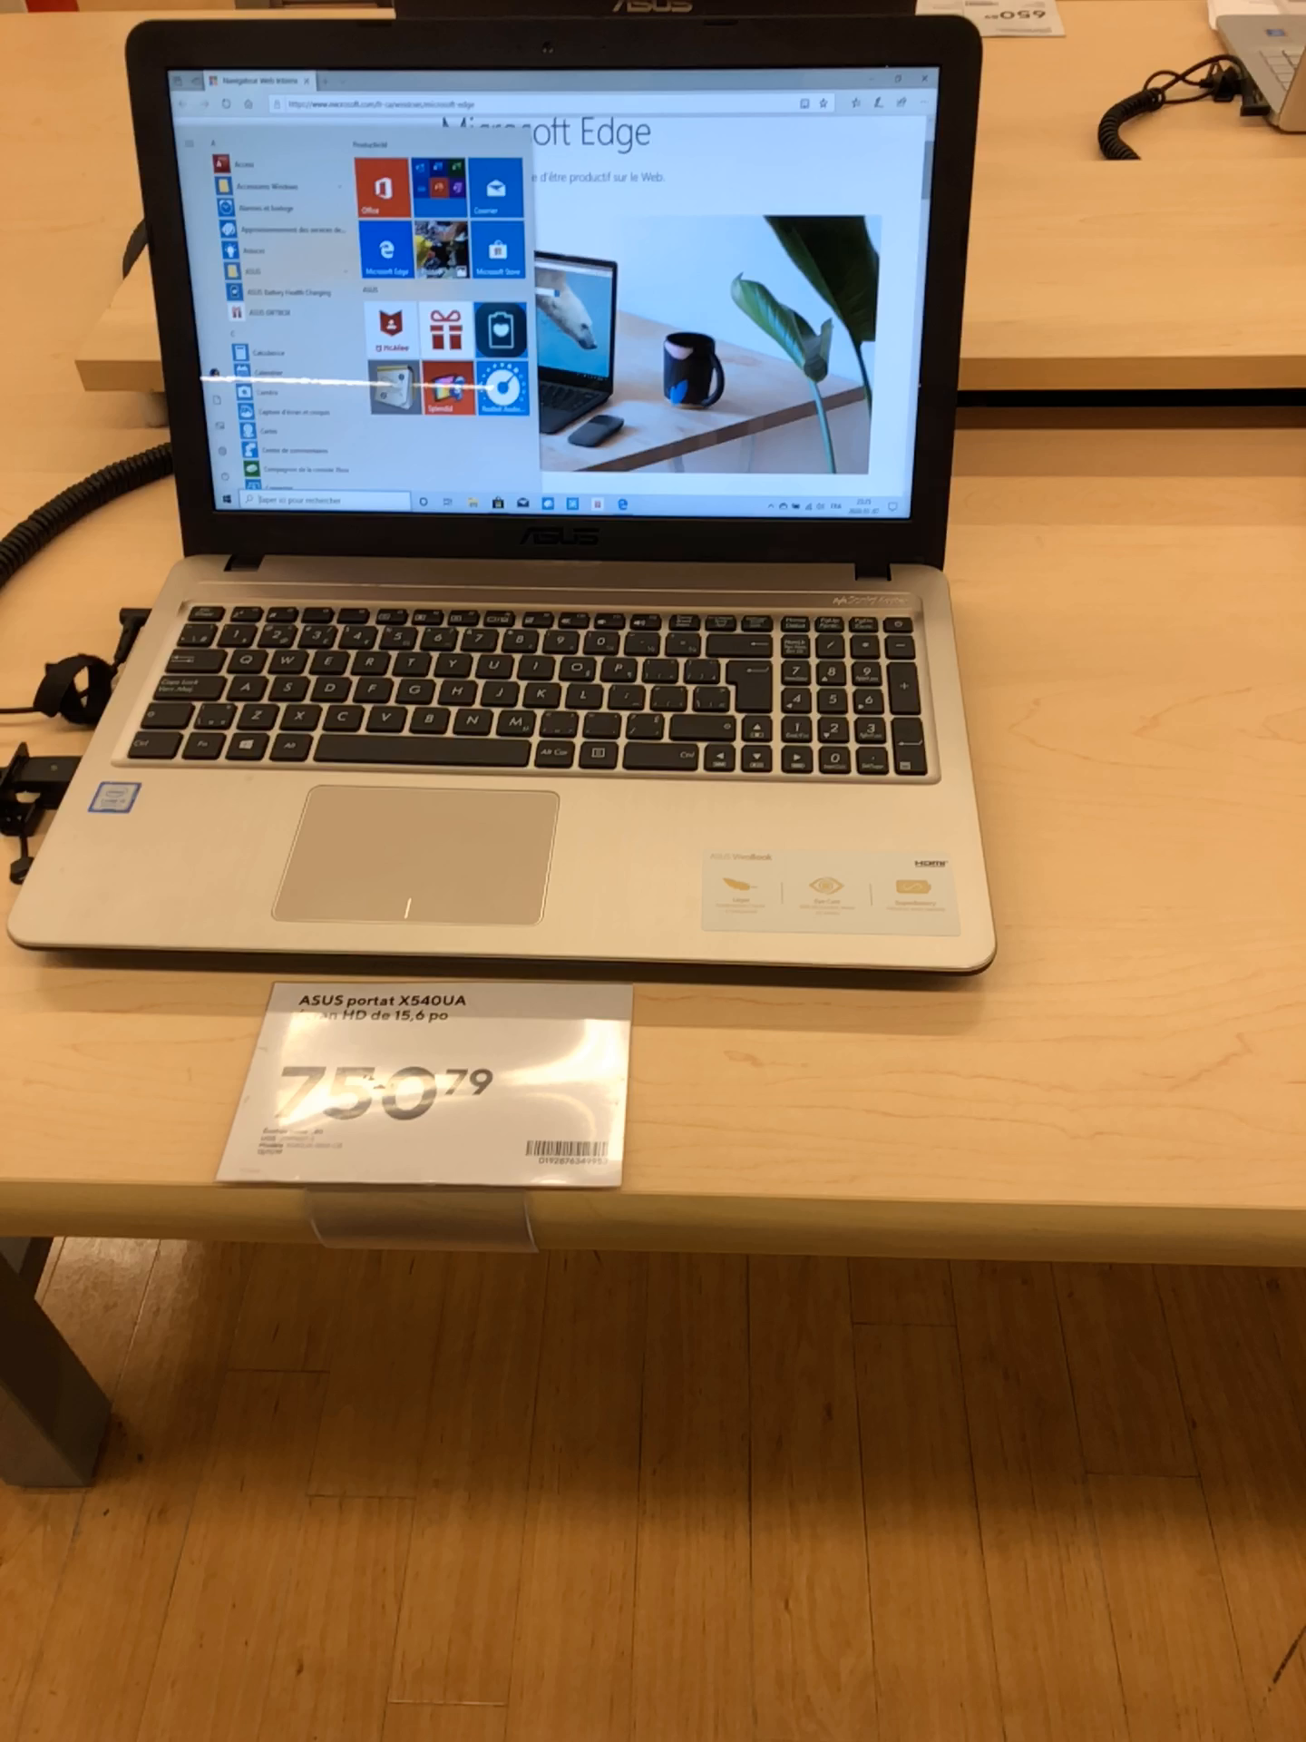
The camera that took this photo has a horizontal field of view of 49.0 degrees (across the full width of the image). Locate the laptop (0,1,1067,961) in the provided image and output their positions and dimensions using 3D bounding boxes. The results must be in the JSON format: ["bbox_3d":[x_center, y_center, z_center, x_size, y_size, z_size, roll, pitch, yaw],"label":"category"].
[{"bbox_3d":[-0.062,-0.181,0.613,0.383,0.215,0.361,1,50,2],"label":"laptop"}]
